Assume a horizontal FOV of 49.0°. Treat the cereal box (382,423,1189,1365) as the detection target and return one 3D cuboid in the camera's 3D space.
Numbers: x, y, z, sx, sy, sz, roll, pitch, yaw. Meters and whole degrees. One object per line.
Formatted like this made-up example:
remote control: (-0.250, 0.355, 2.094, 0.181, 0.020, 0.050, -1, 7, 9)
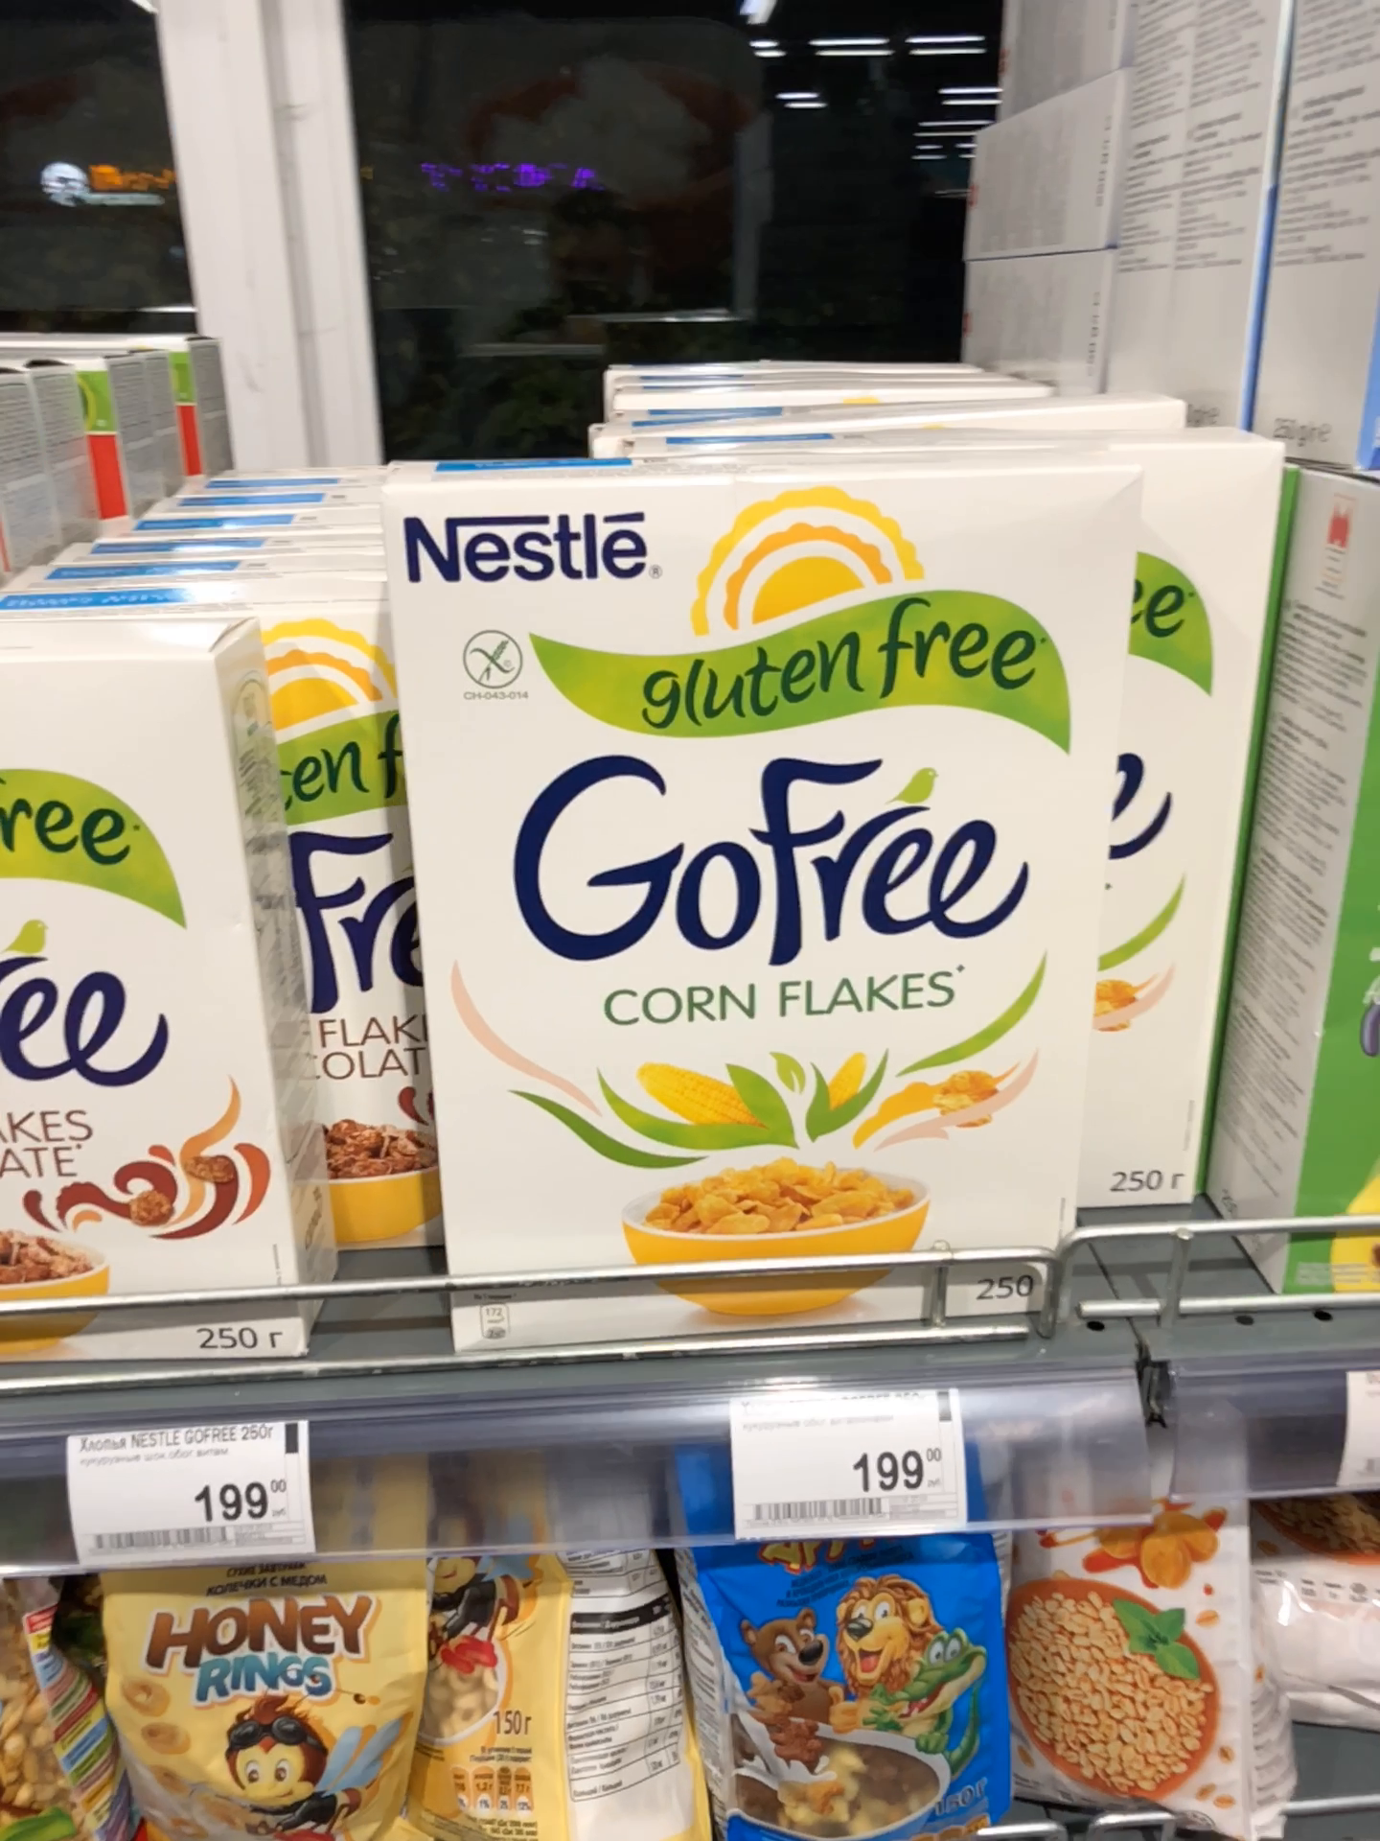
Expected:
cereal box: (0.024, -0.004, 0.427, 0.190, 0.249, 0.060, -3, 22, -6)
